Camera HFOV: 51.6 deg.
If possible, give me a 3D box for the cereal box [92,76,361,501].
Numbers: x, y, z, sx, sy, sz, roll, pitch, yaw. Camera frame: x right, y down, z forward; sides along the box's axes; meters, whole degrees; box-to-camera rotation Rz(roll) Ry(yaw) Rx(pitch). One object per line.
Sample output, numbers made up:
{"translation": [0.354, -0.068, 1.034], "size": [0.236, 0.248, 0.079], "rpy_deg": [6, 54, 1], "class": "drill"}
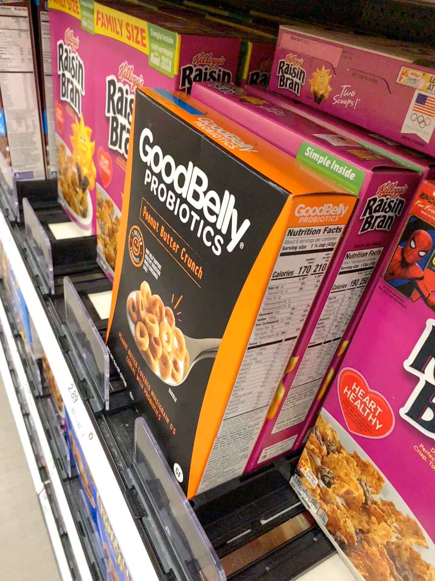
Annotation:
{"translation": [-0.027, -0.006, 0.350], "size": [0.050, 0.249, 0.201], "rpy_deg": [-7, 37, -34], "class": "cereal box"}
